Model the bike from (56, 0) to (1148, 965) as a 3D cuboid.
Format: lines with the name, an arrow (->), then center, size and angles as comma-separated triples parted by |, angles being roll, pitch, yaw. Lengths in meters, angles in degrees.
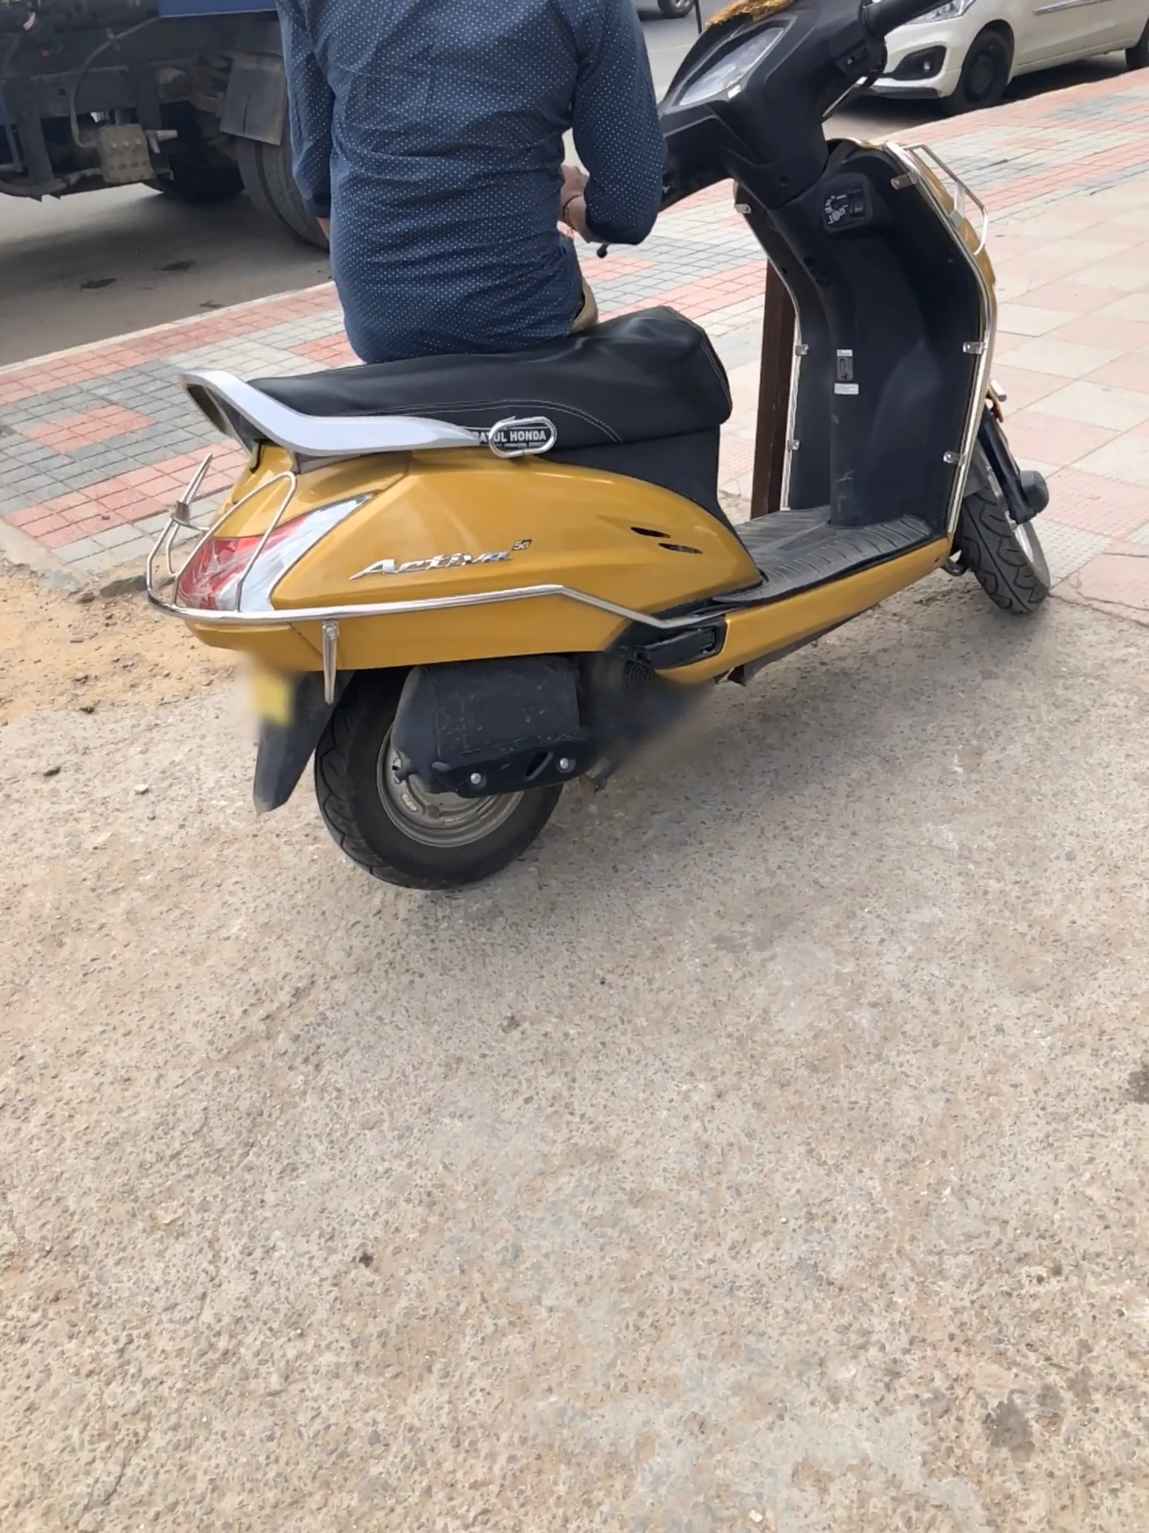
bike -> 0.138, -0.674, 2.043 | 1.532, 1.153, 0.586 | -30, 43, -28
